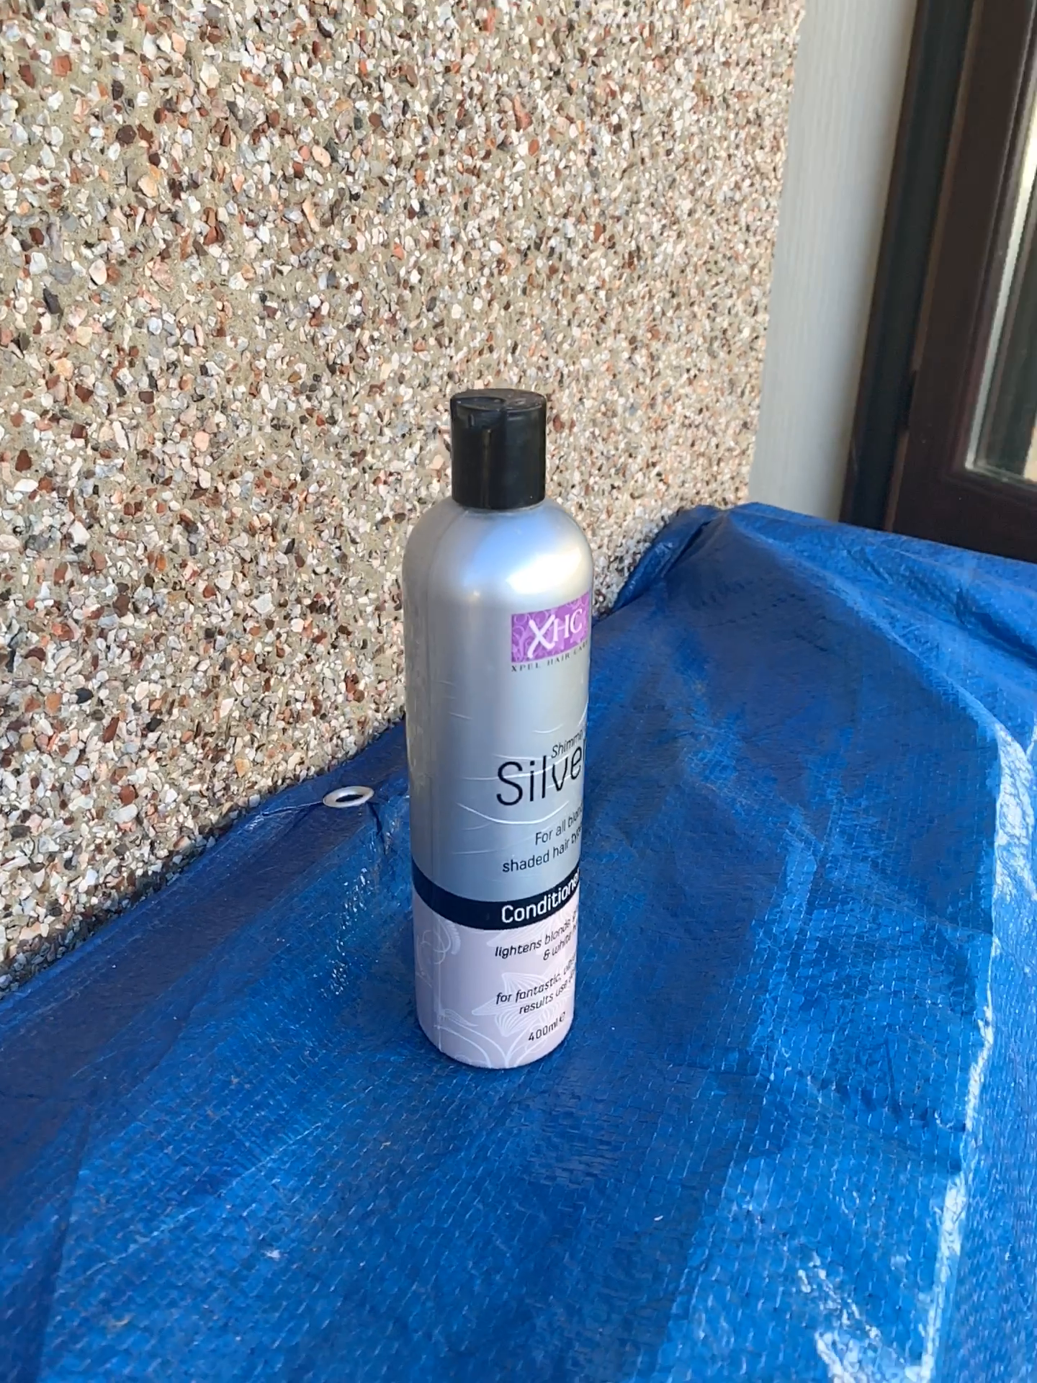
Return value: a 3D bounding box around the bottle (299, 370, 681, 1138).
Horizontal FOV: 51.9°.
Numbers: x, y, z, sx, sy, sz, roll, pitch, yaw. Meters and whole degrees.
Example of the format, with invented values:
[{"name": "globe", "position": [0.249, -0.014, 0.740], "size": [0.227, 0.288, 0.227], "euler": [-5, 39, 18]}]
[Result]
[{"name": "bottle", "position": [-0.008, 0.020, 0.303], "size": [0.070, 0.198, 0.060], "euler": [-23, 36, -37]}]
